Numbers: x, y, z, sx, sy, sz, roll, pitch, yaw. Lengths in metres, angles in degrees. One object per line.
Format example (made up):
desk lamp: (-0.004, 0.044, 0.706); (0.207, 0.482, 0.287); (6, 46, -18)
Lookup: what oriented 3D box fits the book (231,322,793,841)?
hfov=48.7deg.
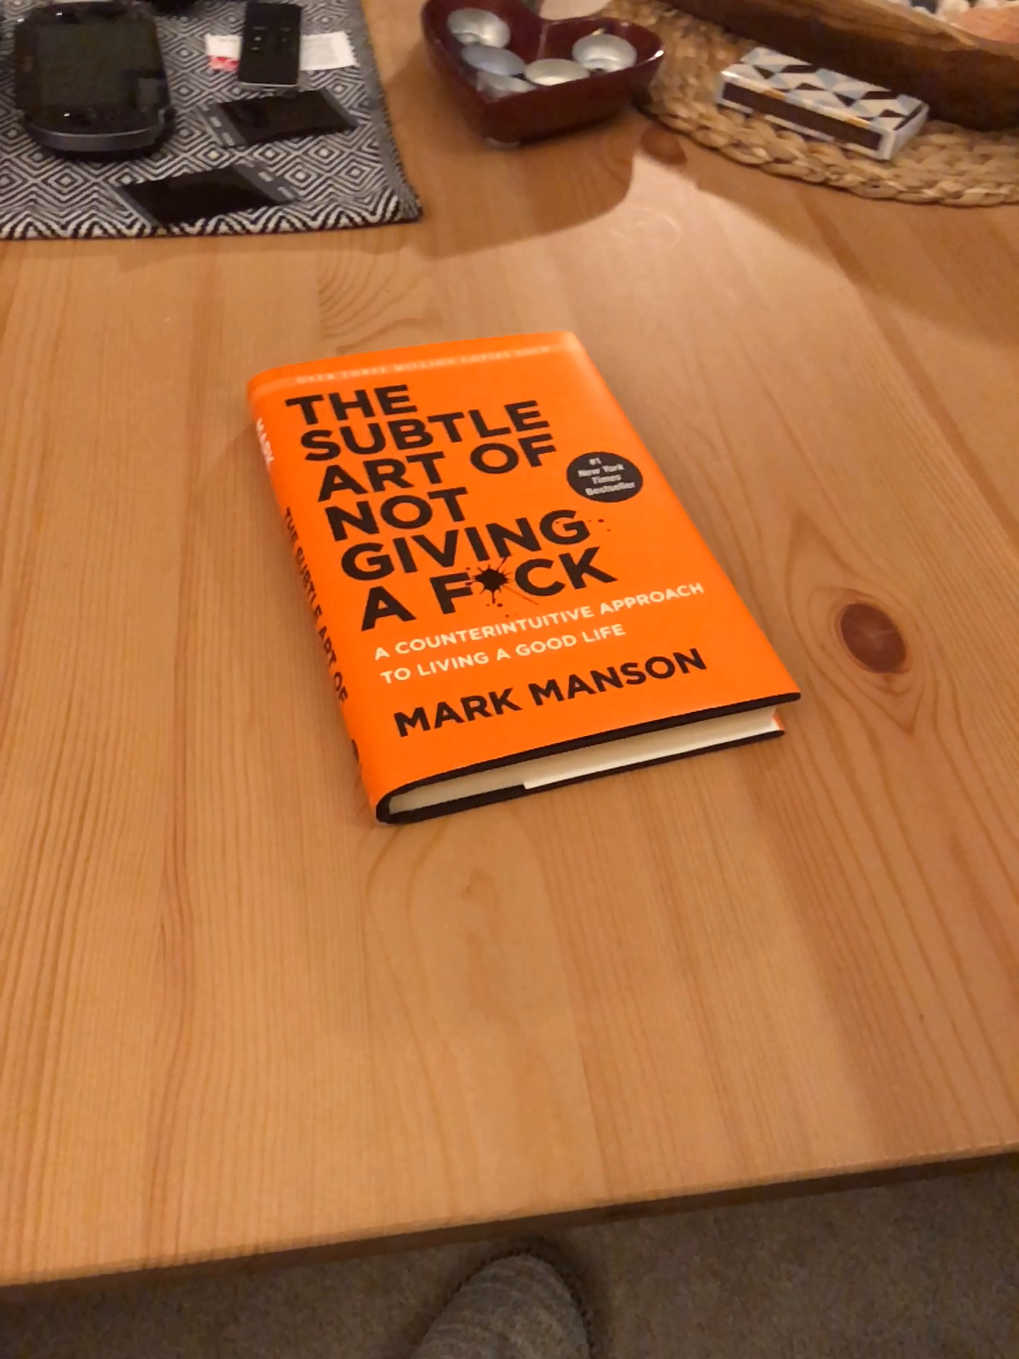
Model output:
book: (-0.011, -0.055, 0.448); (0.160, 0.030, 0.221); (-11, 54, -14)
